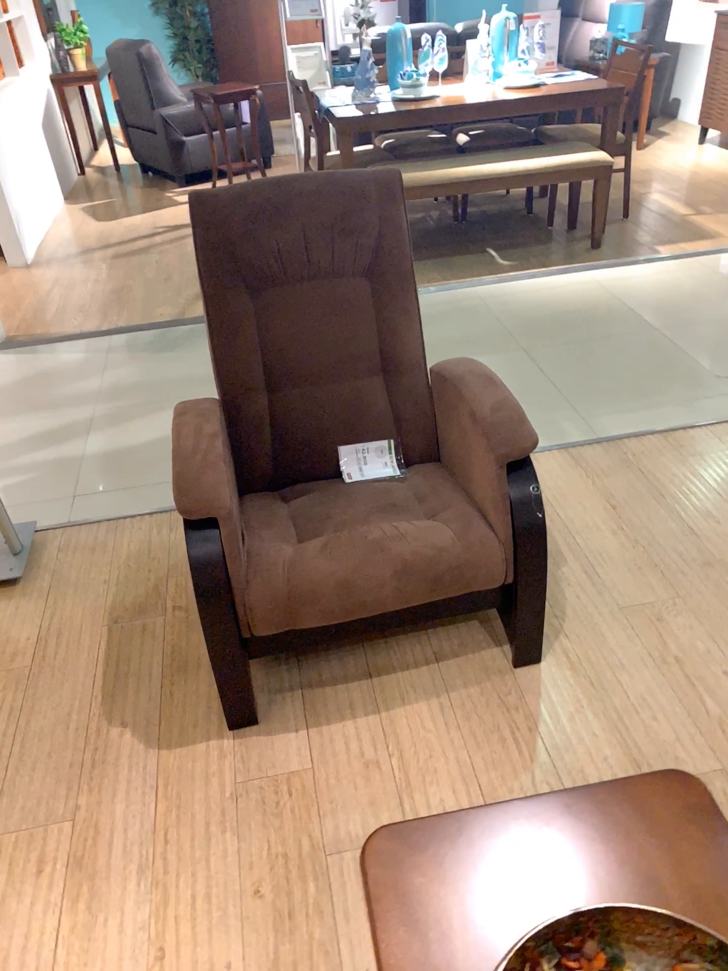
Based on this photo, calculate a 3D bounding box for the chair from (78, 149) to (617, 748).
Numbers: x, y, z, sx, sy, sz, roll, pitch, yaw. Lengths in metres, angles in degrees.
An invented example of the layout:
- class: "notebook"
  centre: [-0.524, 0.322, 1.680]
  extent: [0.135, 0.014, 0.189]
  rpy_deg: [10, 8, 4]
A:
- class: "chair"
  centre: [-0.082, -0.168, 1.733]
  extent: [0.800, 0.886, 1.004]
  rpy_deg: [-10, 36, -8]
